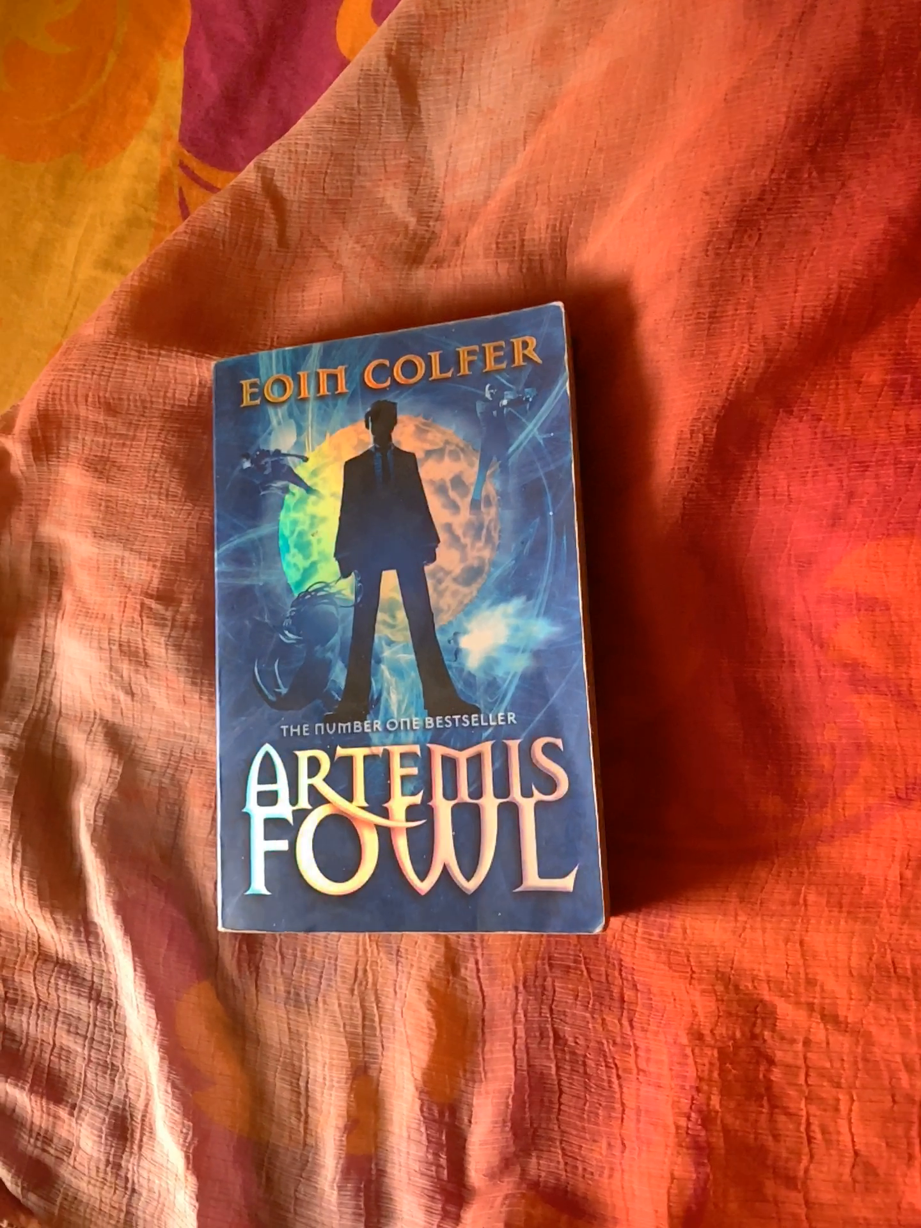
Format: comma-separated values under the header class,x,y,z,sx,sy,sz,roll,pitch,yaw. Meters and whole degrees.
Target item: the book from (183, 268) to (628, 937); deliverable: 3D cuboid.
class,x,y,z,sx,sy,sz,roll,pitch,yaw
book,-0.020,0.000,0.302,0.130,0.030,0.190,-5,84,17
